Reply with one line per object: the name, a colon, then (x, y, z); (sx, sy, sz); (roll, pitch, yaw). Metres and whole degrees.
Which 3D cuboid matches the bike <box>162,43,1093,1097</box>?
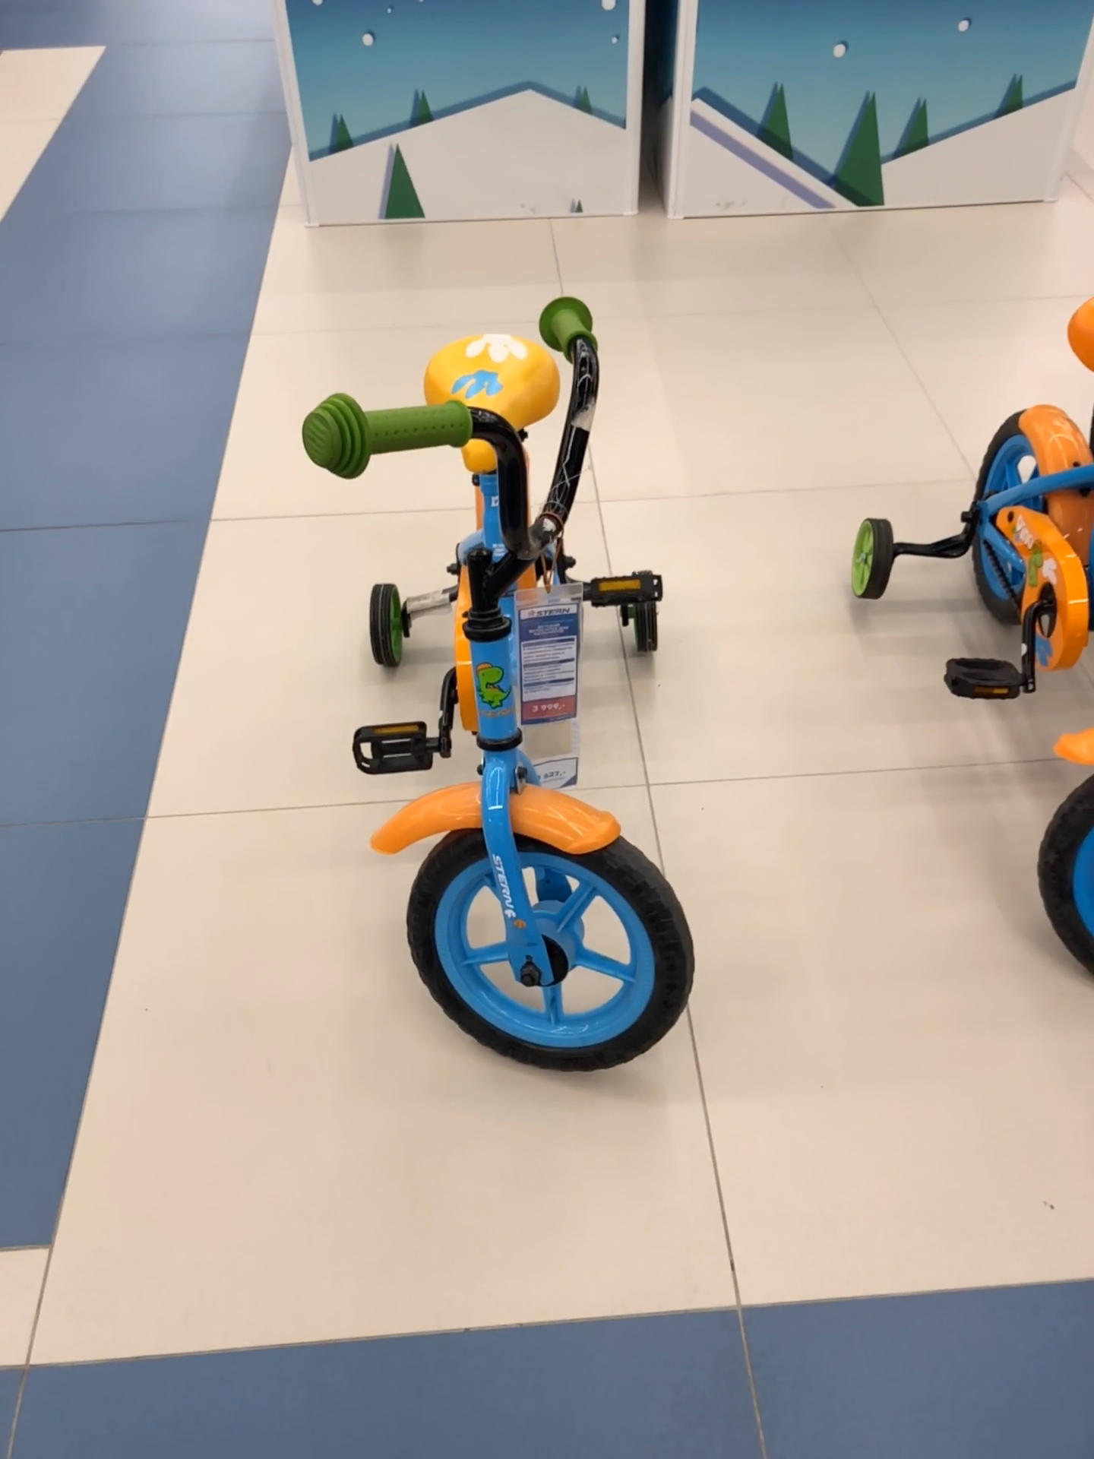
bike: (-0.005, -0.182, 1.197); (0.564, 0.681, 0.754); (-9, 45, -9)
